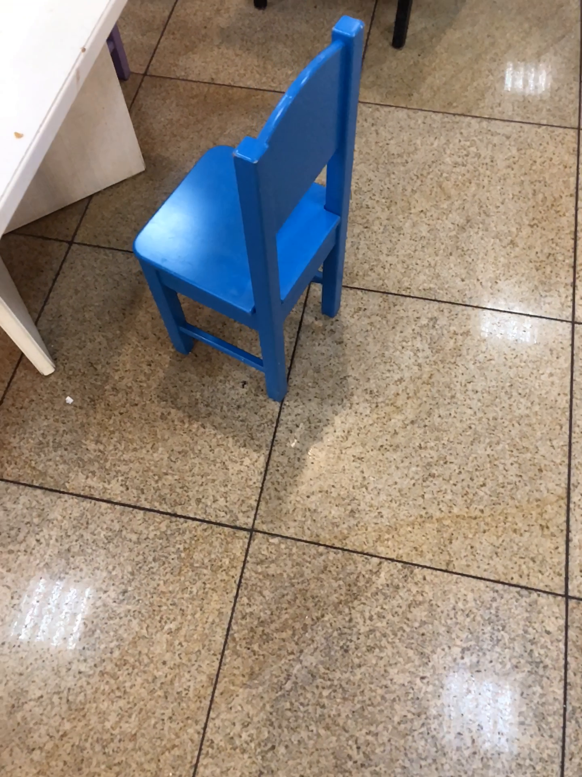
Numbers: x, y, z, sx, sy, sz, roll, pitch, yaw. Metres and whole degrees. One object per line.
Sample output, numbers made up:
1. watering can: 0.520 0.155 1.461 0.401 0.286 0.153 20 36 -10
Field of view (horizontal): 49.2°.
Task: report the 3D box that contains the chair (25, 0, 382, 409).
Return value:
1. chair: -0.097 -0.286 1.068 0.330 0.649 0.290 27 68 13
